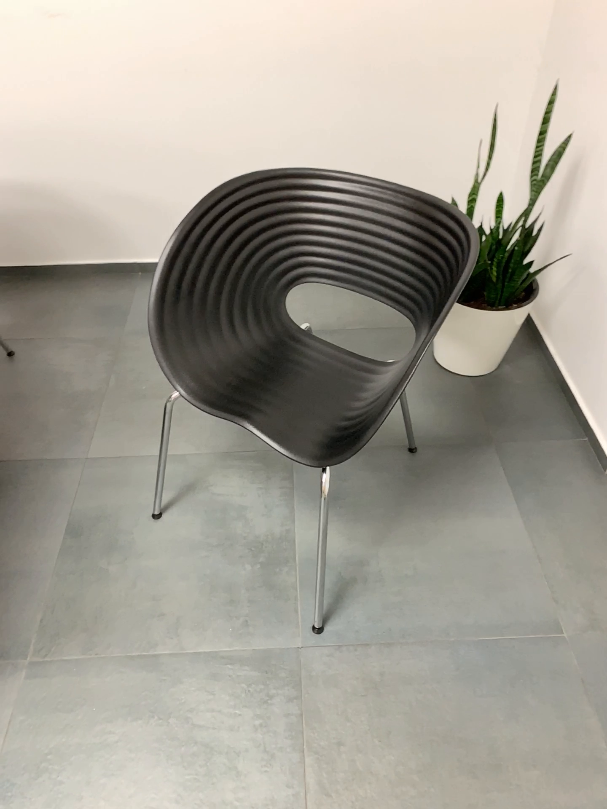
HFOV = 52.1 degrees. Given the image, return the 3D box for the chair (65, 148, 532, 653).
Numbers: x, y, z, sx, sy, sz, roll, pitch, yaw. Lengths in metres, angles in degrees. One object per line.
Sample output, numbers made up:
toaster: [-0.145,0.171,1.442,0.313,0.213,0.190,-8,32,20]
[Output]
chair: [0.009,-0.037,1.473,0.651,0.796,0.642,27,49,27]
